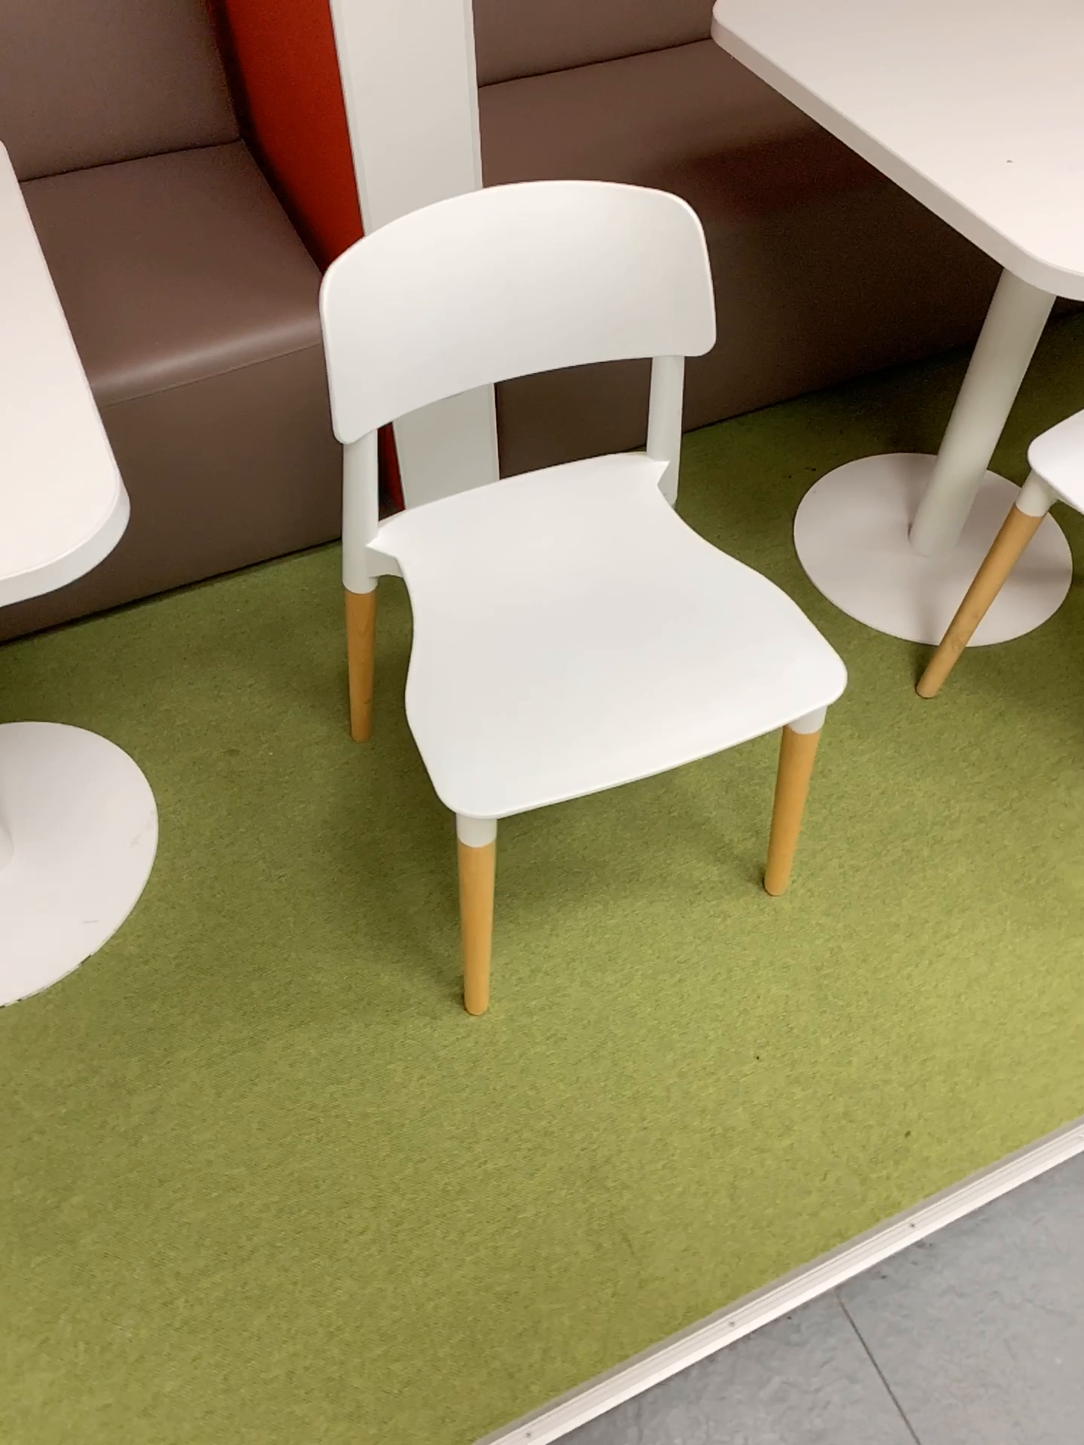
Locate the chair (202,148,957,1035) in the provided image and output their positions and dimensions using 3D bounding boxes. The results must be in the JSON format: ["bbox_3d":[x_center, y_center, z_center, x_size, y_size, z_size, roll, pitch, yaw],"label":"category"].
[{"bbox_3d":[0.004,-0.104,1.272,0.500,0.787,0.501,-18,55,-13],"label":"chair"}]
